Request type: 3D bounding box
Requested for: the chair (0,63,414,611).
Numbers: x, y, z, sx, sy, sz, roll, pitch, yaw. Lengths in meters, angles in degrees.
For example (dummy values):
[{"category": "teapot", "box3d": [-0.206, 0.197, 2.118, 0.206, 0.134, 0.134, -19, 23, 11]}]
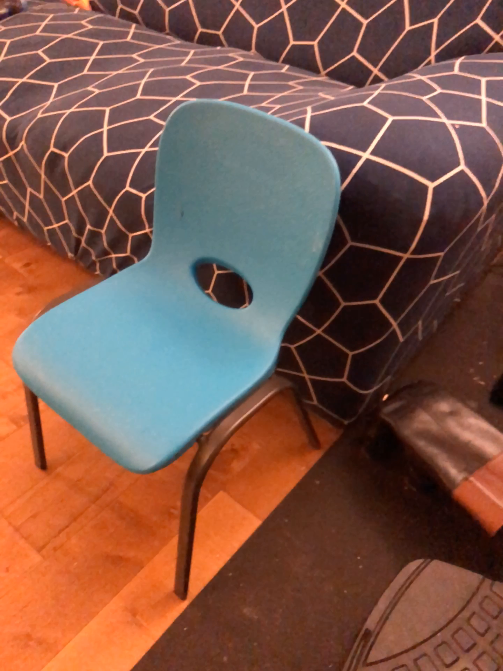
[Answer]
[{"category": "chair", "box3d": [-0.118, -0.013, 0.794, 0.431, 0.527, 0.402, 29, 48, 23]}]
